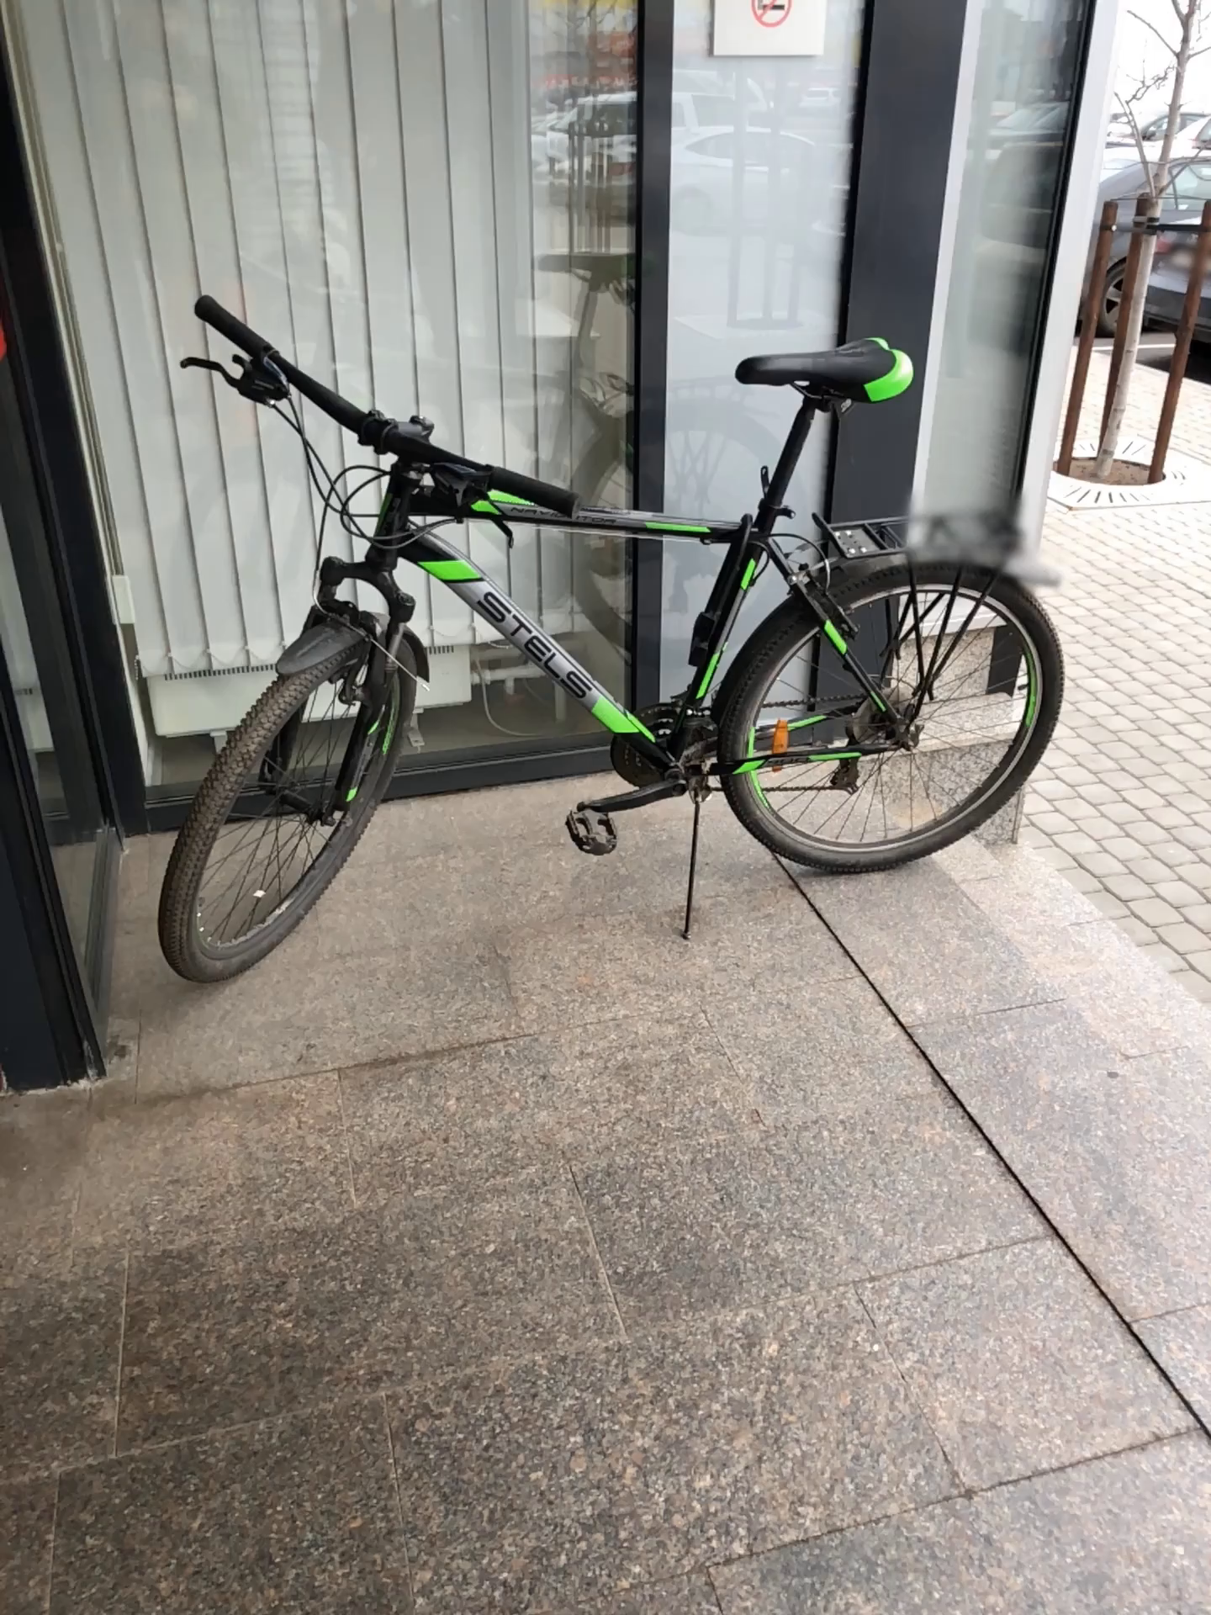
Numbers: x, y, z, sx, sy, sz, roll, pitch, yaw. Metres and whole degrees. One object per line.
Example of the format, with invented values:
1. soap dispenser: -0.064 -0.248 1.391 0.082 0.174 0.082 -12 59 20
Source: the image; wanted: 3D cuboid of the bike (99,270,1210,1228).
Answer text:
1. bike: 0.122 -0.194 2.056 1.546 1.051 0.631 -12 30 -20
